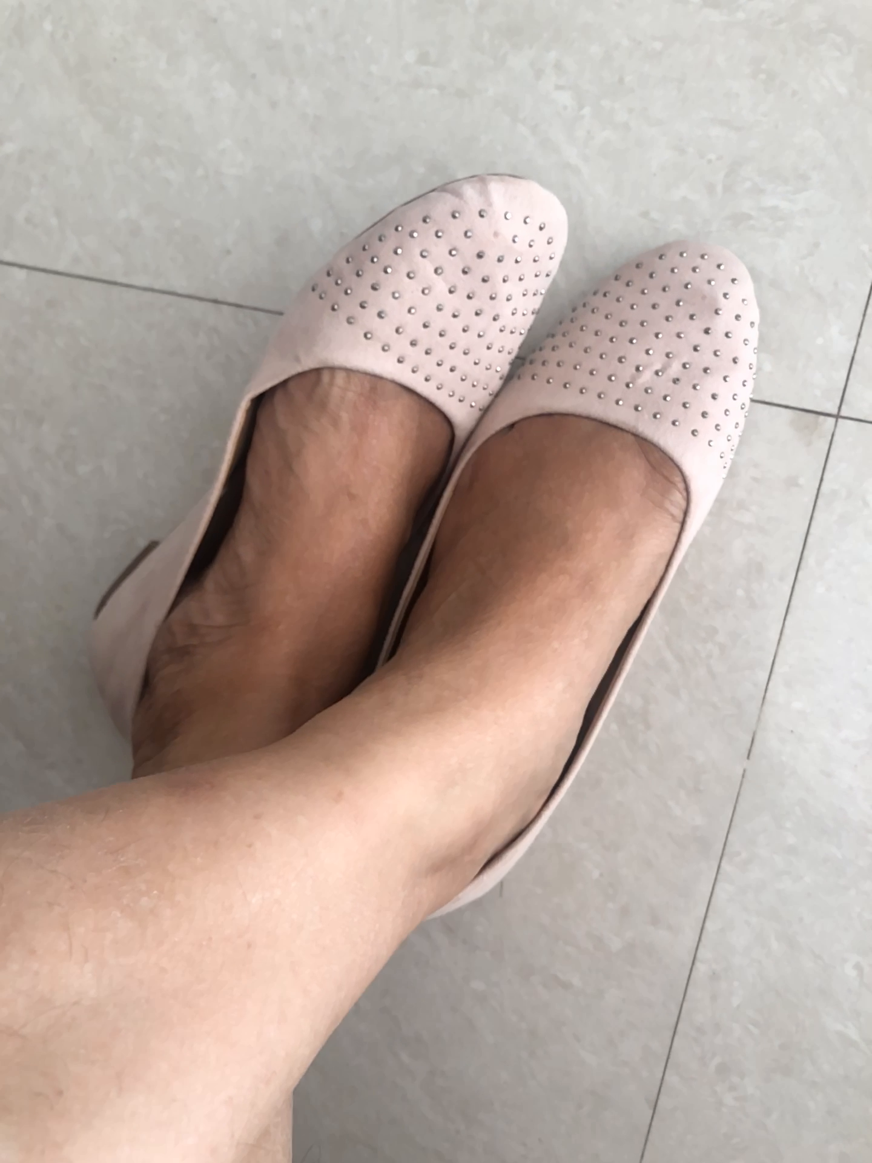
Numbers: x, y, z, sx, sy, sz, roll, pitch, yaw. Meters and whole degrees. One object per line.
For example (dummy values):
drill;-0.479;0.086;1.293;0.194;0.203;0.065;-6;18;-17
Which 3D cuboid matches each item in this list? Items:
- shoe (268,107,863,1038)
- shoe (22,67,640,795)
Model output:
shoe;0.044;-0.004;0.339;0.100;0.080;0.270;20;95;17
shoe;-0.045;-0.042;0.348;0.240;0.090;0.060;-54;38;13
